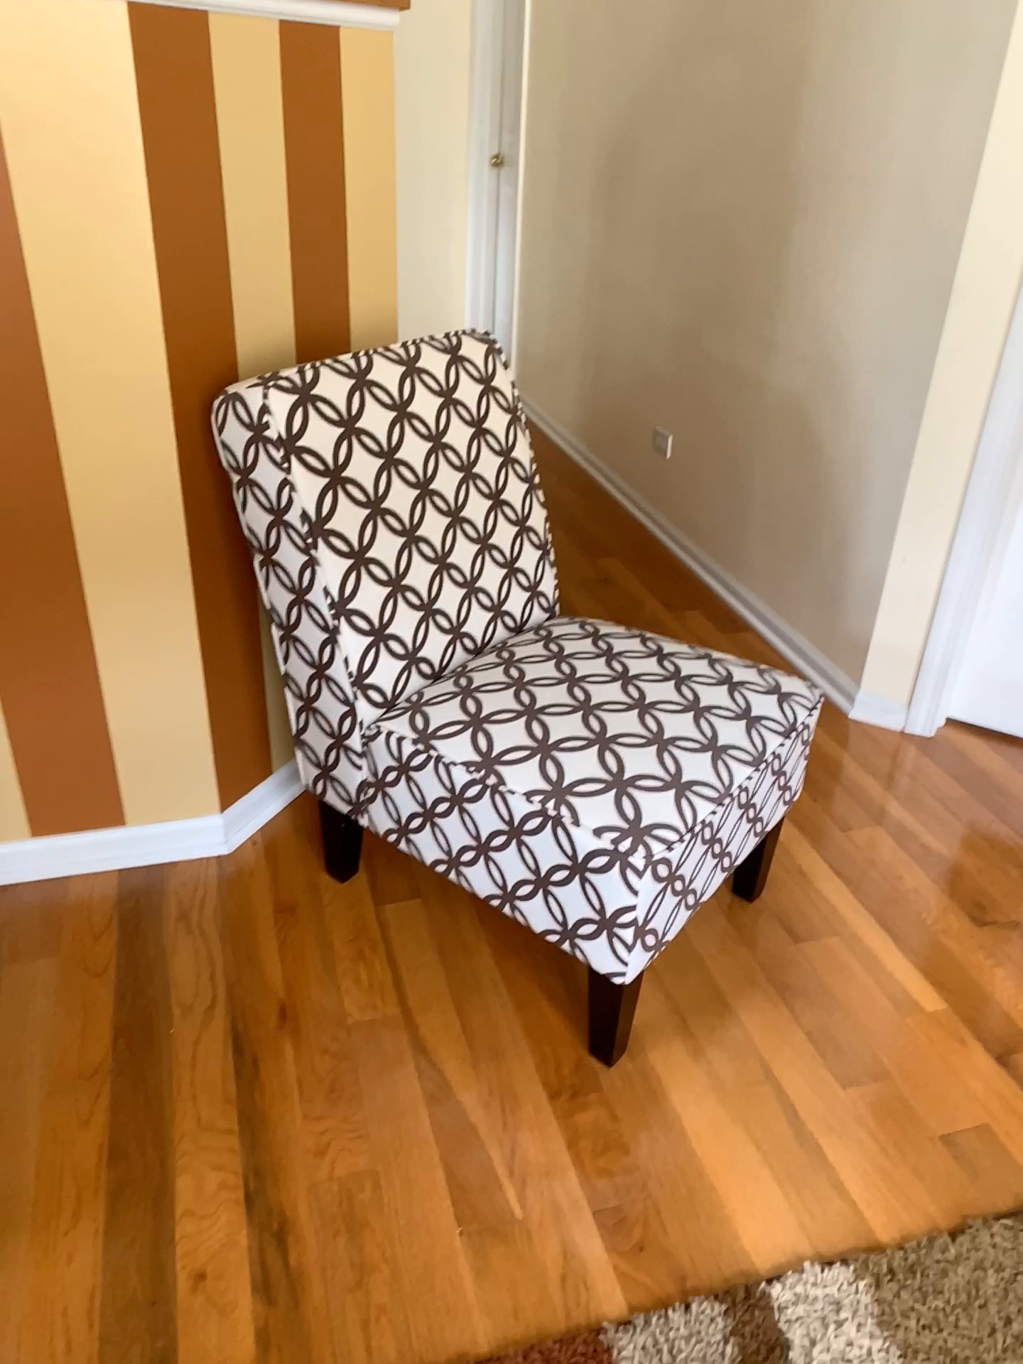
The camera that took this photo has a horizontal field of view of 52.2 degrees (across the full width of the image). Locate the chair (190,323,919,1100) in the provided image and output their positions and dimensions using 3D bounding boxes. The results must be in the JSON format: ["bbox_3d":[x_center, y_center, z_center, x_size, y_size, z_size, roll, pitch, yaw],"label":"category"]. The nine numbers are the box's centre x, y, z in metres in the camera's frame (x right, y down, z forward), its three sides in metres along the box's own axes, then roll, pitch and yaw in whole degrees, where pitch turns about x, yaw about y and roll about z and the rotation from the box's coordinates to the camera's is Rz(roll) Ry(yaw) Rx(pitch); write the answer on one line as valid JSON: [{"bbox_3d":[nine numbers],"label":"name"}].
[{"bbox_3d":[0.054,-0.046,1.543,0.737,0.775,0.625,20,32,31],"label":"chair"}]
